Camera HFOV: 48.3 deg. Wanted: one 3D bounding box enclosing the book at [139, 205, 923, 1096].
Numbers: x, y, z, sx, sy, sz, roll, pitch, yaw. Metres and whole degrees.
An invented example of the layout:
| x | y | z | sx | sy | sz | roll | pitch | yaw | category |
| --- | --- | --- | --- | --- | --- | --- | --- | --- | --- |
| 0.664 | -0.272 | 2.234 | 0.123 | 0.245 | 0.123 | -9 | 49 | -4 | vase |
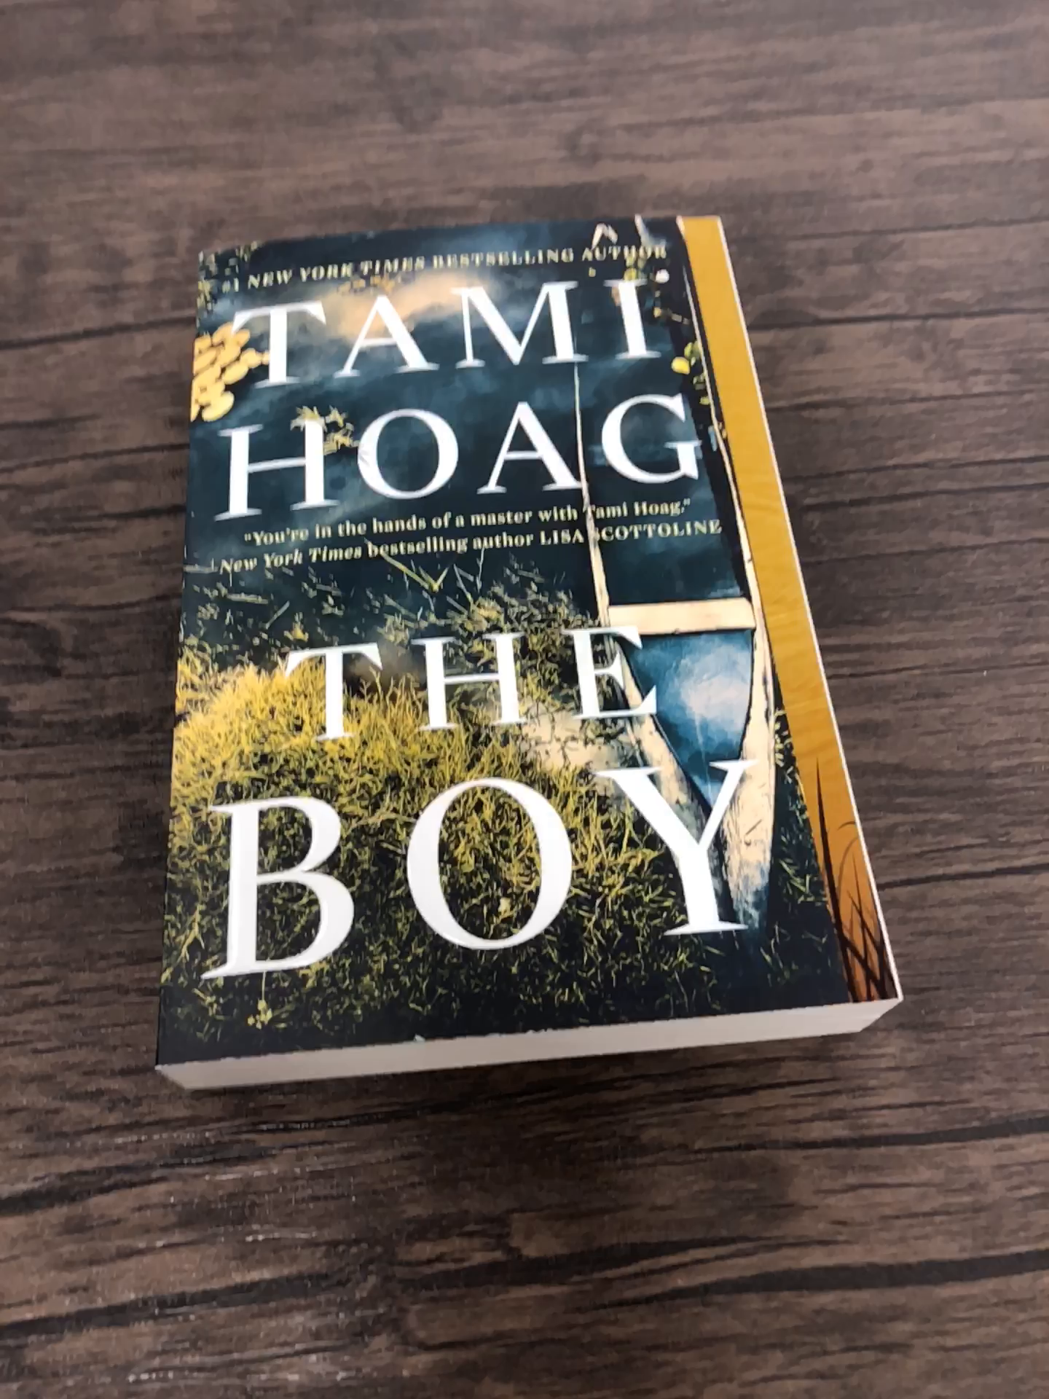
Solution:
| x | y | z | sx | sy | sz | roll | pitch | yaw | category |
| --- | --- | --- | --- | --- | --- | --- | --- | --- | --- |
| -0.006 | -0.023 | 0.267 | 0.139 | 0.032 | 0.203 | -5 | 63 | 0 | book |
